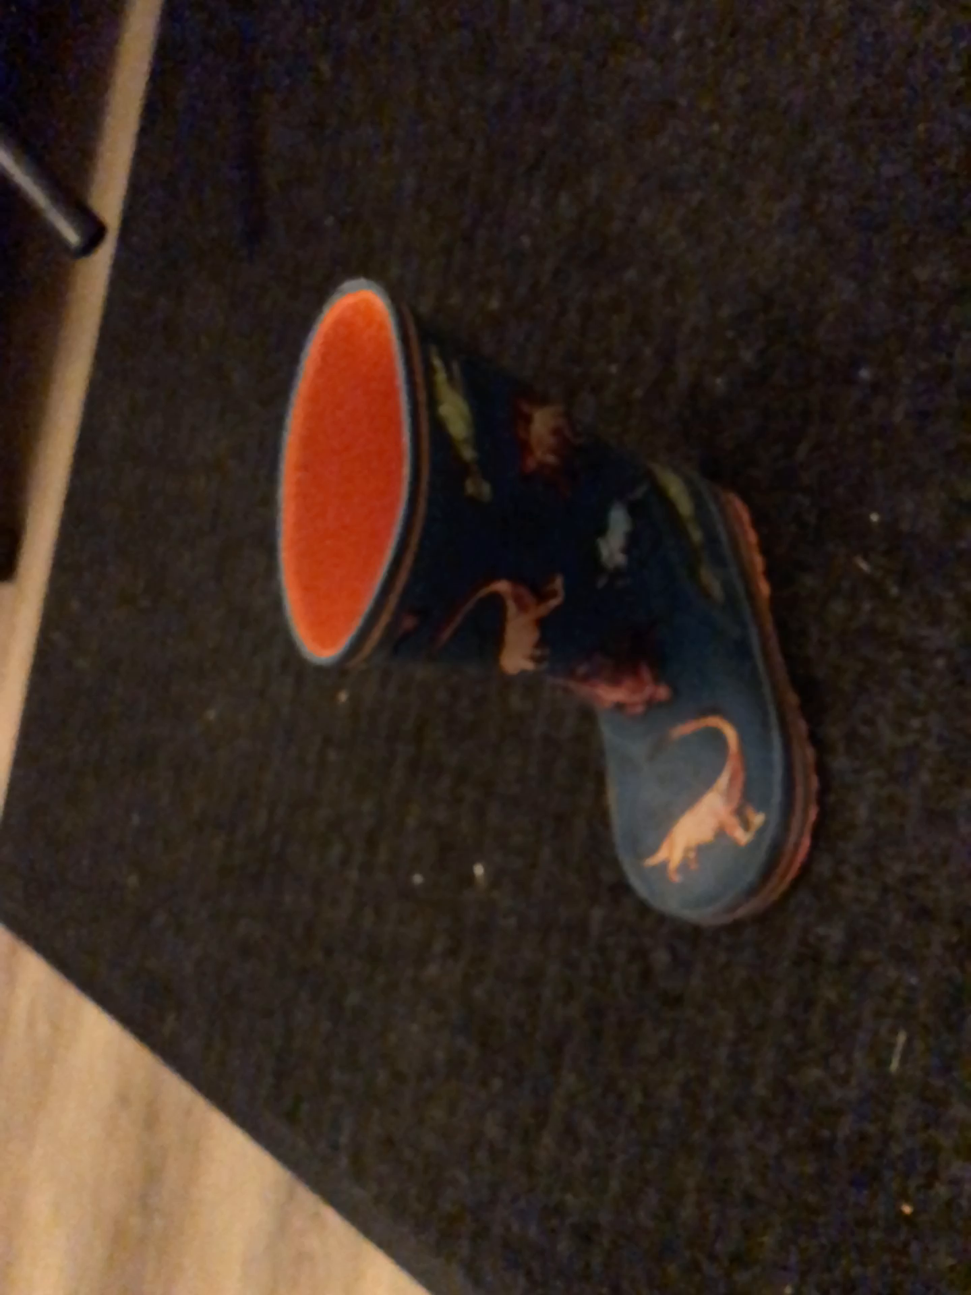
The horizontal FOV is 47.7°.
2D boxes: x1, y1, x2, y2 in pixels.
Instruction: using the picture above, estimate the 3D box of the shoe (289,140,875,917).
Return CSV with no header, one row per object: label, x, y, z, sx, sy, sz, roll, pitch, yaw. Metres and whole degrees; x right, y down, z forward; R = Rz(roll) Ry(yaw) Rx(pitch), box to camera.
shoe,0.037,-0.016,0.347,0.080,0.179,0.190,-12,74,42
